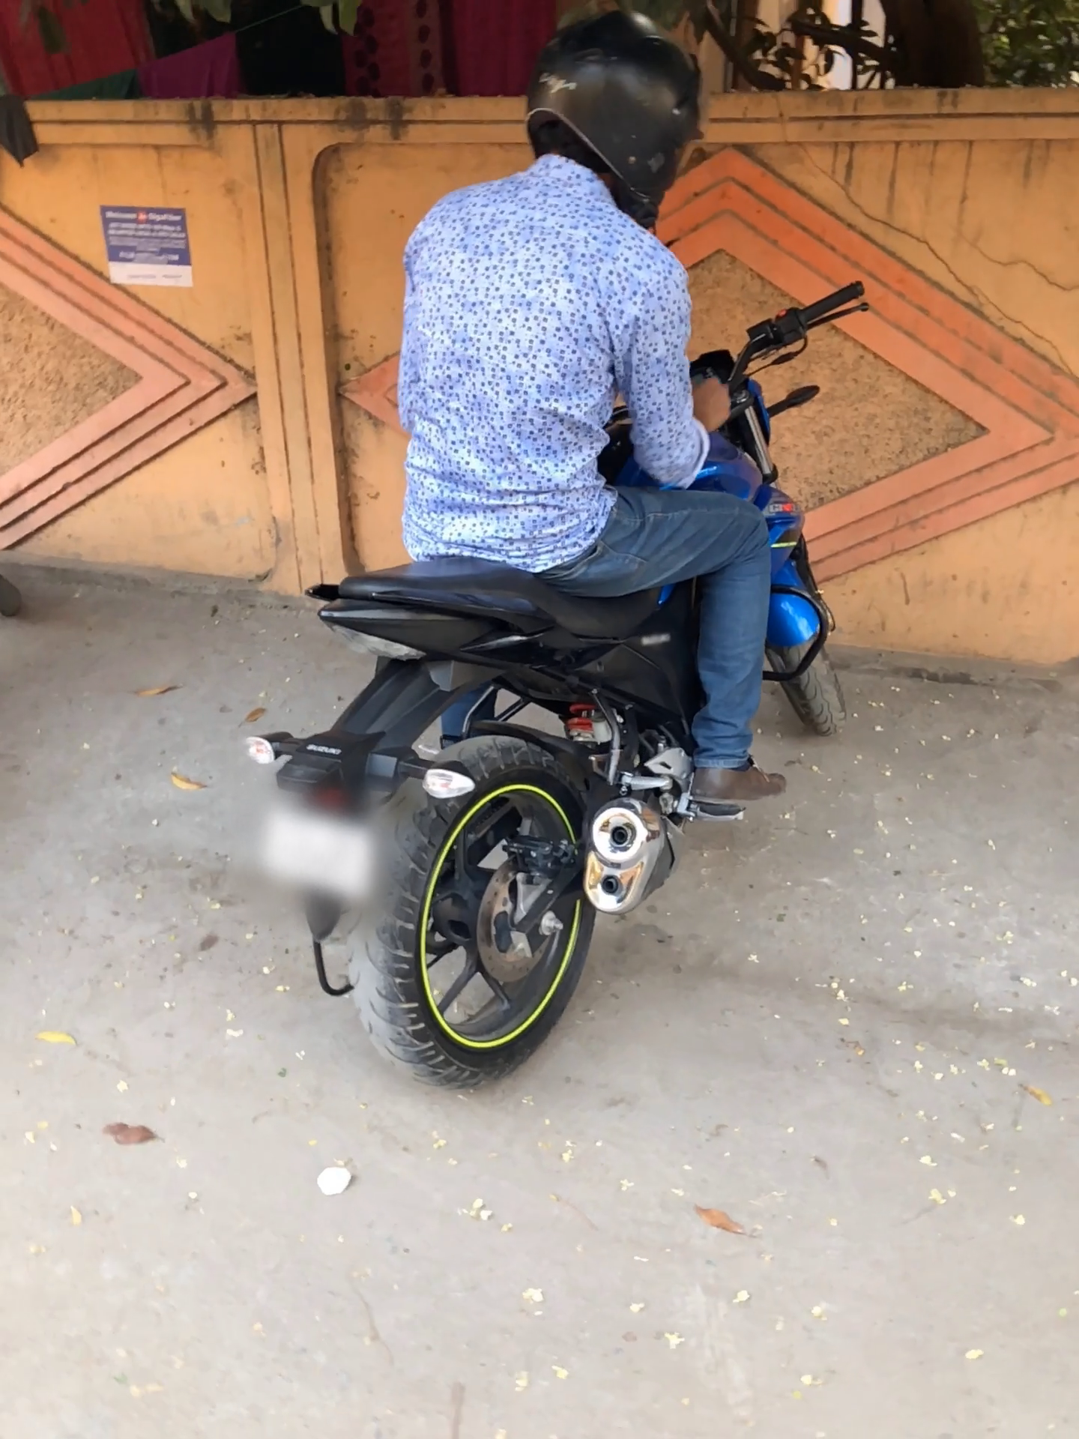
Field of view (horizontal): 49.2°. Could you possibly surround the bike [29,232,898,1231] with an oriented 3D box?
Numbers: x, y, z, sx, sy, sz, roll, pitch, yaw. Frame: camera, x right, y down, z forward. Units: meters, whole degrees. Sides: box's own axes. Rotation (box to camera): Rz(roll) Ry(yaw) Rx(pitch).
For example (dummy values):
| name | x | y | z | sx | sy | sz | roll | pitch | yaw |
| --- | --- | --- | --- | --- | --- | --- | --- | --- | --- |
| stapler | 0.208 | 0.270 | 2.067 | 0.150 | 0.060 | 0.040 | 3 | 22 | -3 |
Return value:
| name | x | y | z | sx | sy | sz | roll | pitch | yaw |
| --- | --- | --- | --- | --- | --- | --- | --- | --- | --- |
| bike | 0.063 | -0.260 | 2.441 | 0.795 | 1.187 | 1.896 | 14 | 31 | 25 |
